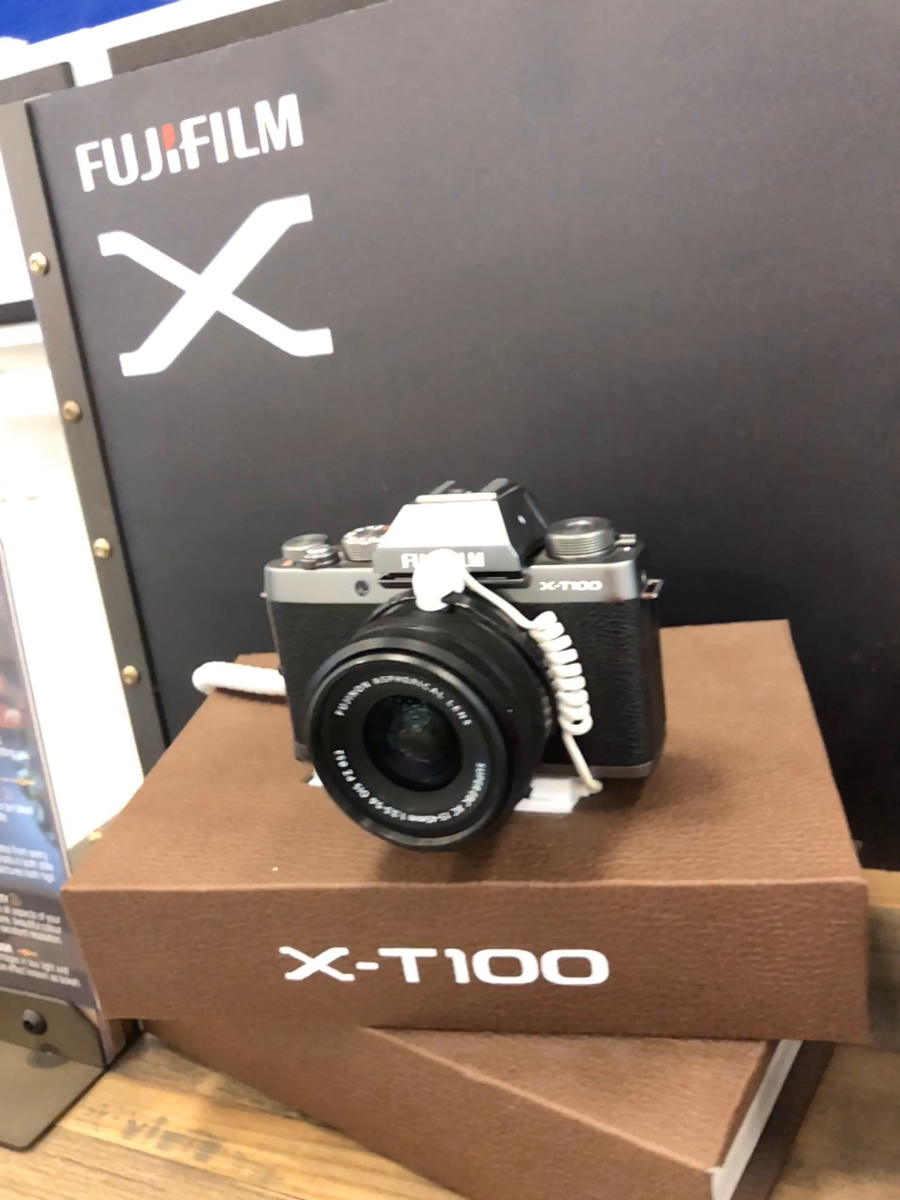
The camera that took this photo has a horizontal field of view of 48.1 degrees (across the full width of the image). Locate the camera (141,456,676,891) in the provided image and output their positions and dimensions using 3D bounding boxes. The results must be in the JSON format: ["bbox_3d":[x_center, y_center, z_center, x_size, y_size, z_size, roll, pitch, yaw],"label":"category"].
[{"bbox_3d":[-0.005,0.014,0.300,0.120,0.090,0.090,0,20,25],"label":"camera"}]
